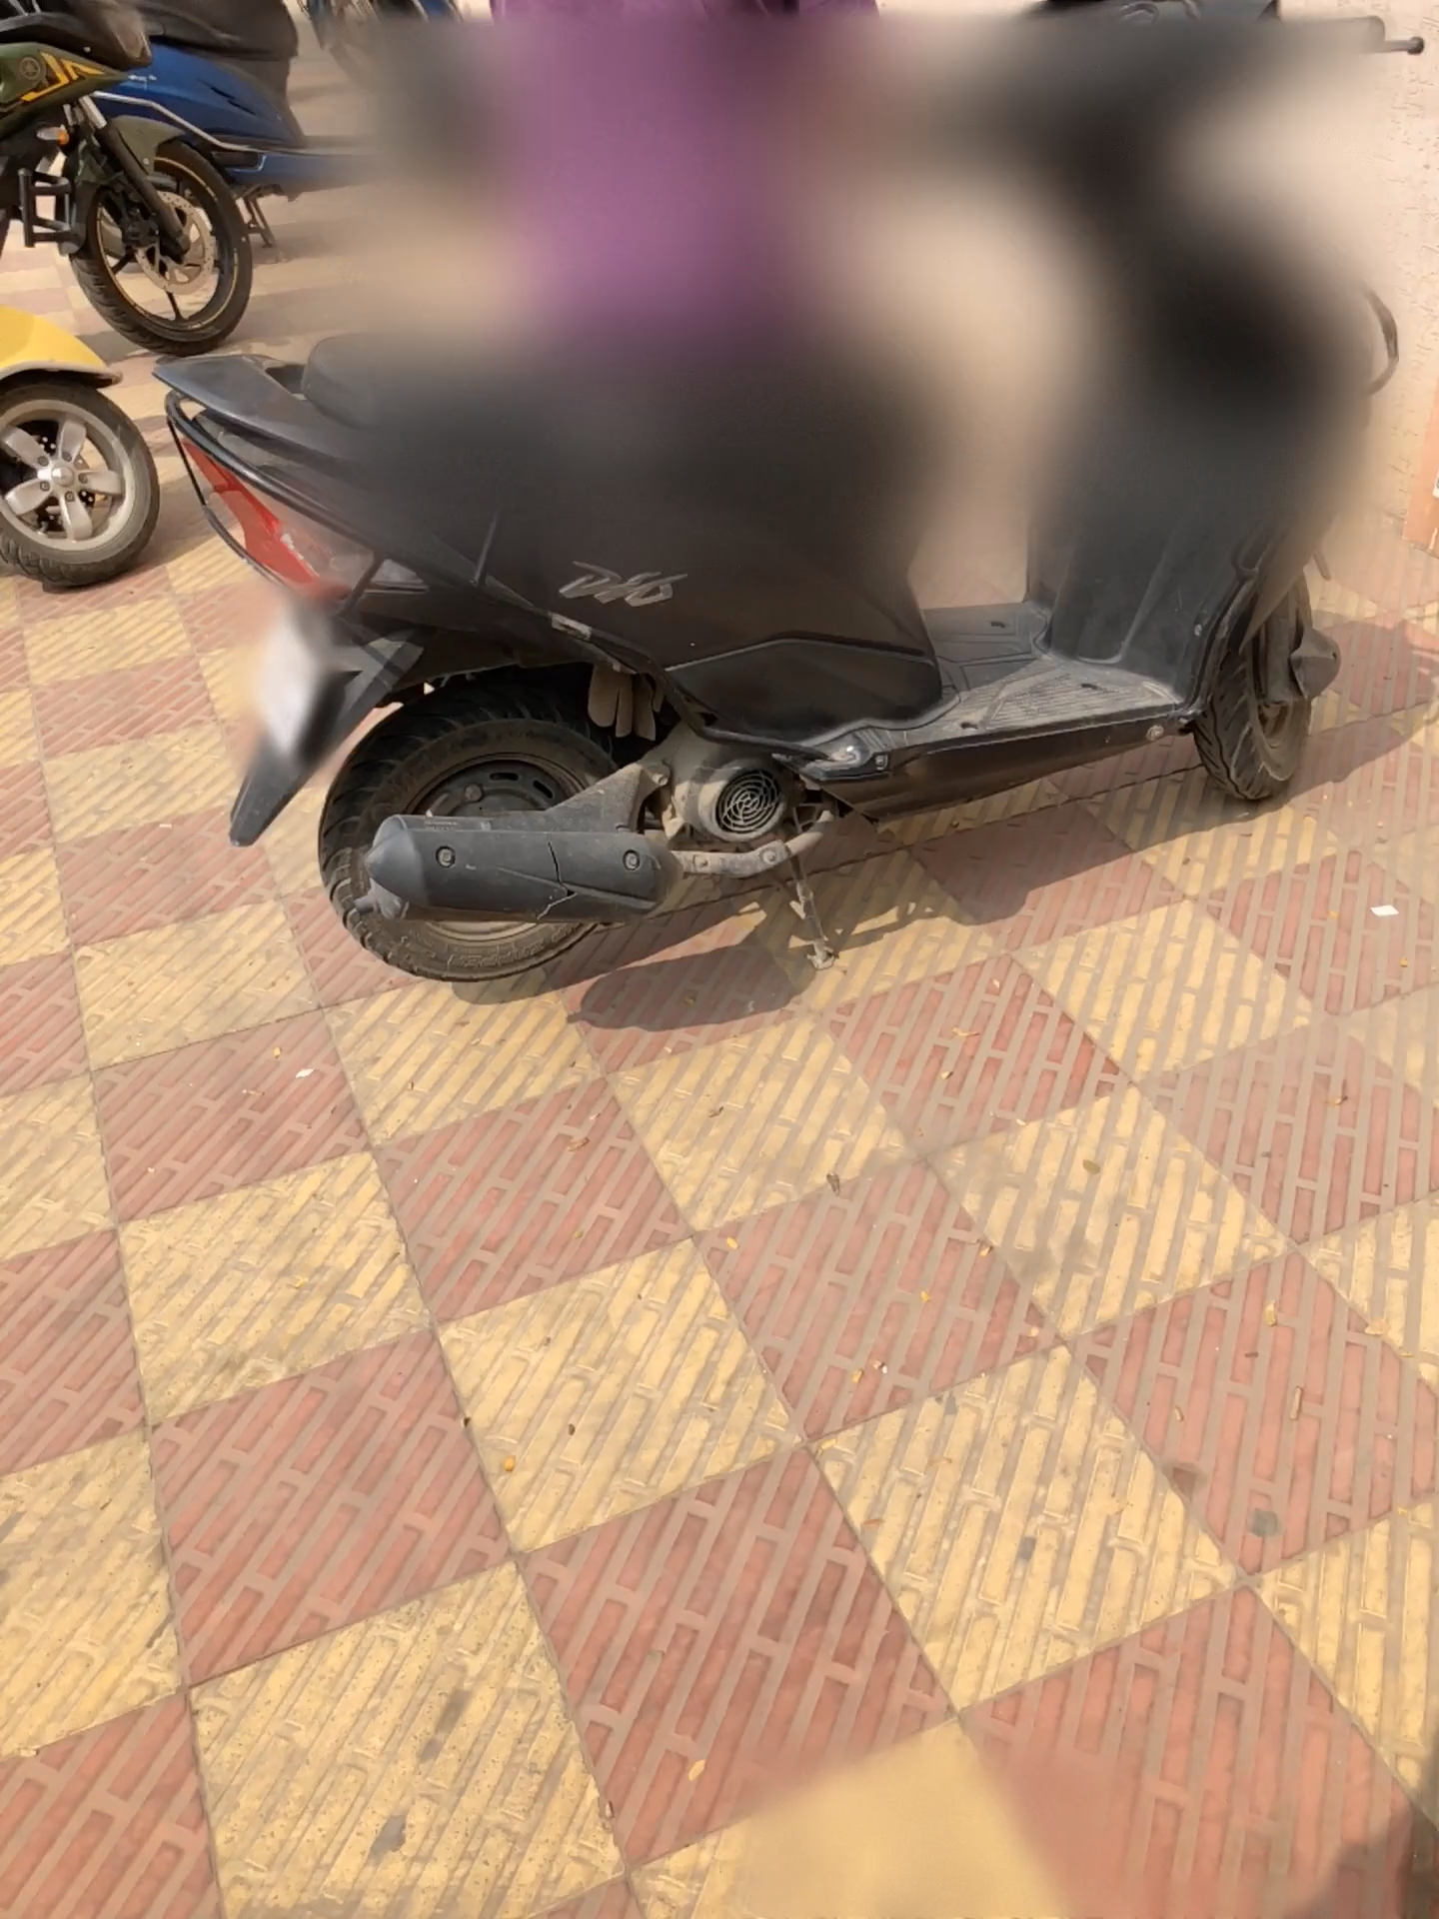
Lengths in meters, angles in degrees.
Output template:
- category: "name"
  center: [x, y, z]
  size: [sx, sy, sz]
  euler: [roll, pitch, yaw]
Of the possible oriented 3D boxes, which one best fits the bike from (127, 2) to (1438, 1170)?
- category: "bike"
  center: [0.212, -0.541, 1.954]
  size: [1.510, 0.987, 0.576]
  euler: [-19, 40, -23]
